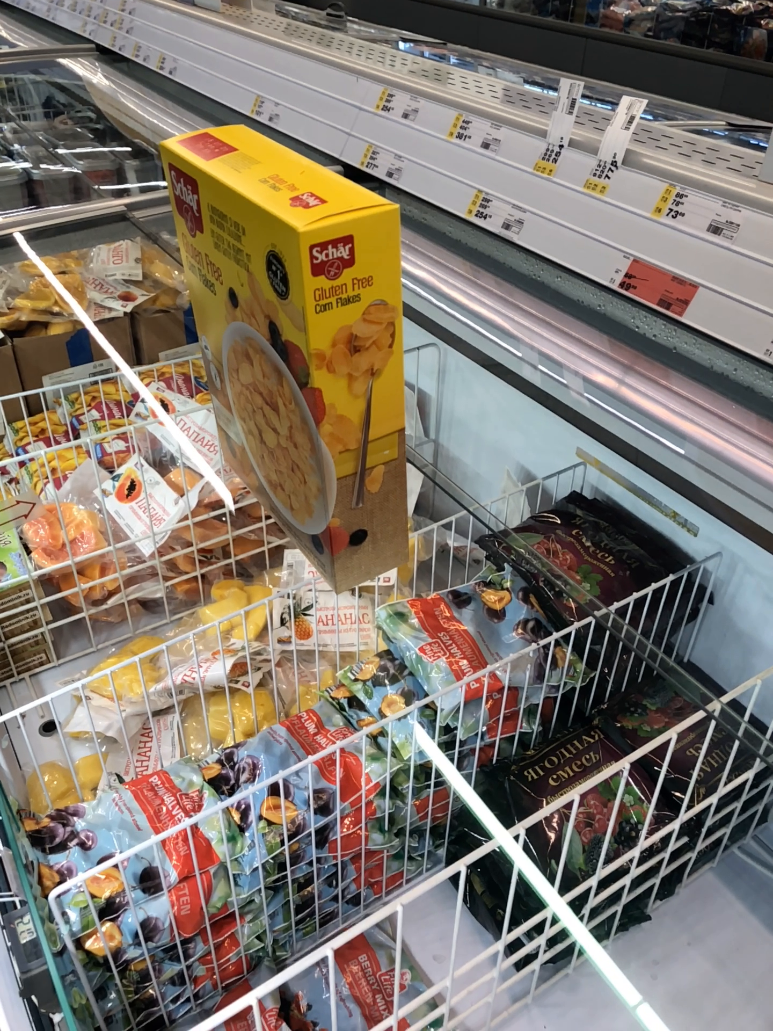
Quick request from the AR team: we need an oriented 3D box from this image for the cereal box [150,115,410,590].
[{"bbox_3d":[-0.067,-0.108,0.552,0.060,0.238,0.201,-23,43,-23],"label":"cereal box"}]
